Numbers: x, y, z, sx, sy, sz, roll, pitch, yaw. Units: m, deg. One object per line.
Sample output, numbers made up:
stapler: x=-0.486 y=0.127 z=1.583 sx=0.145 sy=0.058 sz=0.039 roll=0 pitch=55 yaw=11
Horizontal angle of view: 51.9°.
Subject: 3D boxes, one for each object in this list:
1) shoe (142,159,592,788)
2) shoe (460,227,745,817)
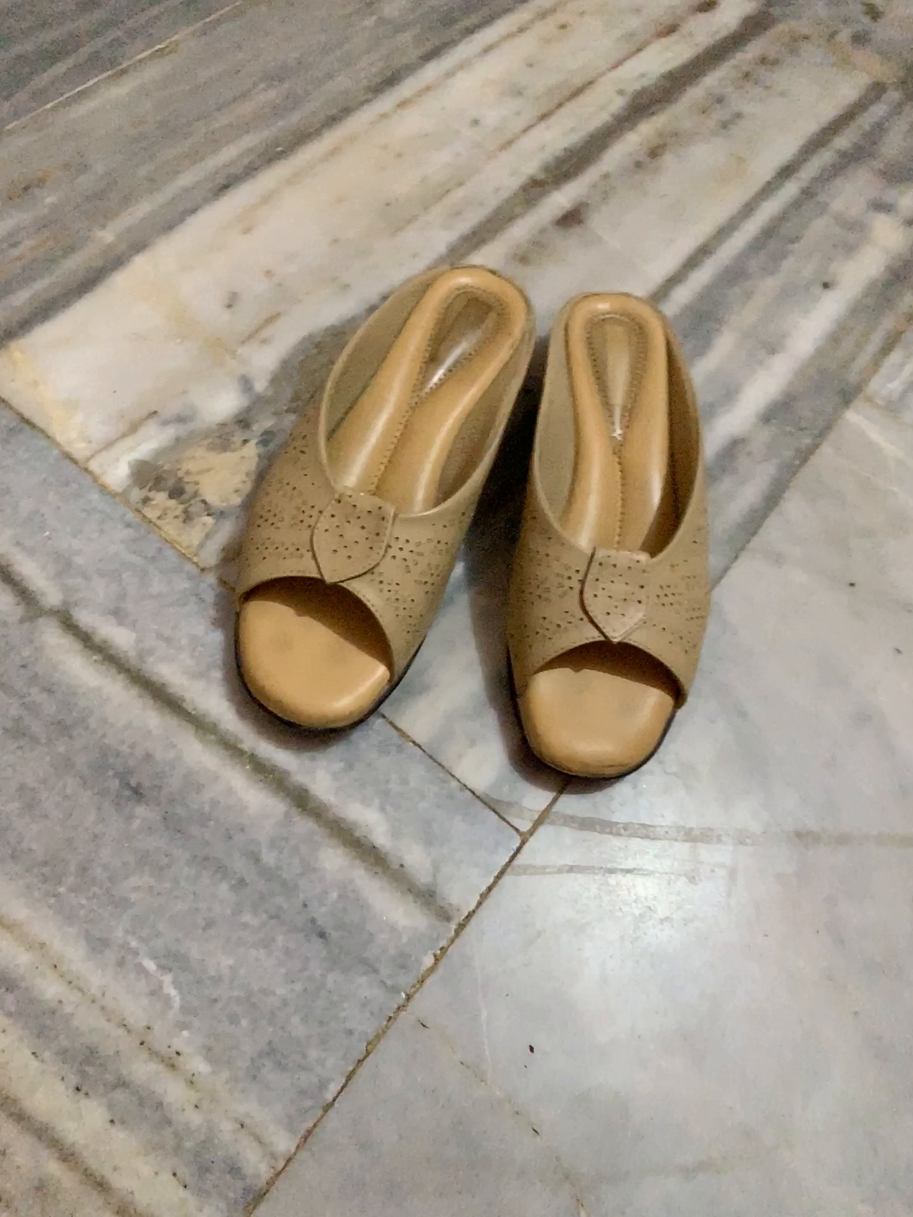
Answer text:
shoe: x=-0.028 y=-0.071 z=0.418 sx=0.095 sy=0.070 sz=0.273 roll=21 pitch=62 yaw=0
shoe: x=0.068 y=-0.047 z=0.432 sx=0.095 sy=0.070 sz=0.260 roll=10 pitch=63 yaw=-6
